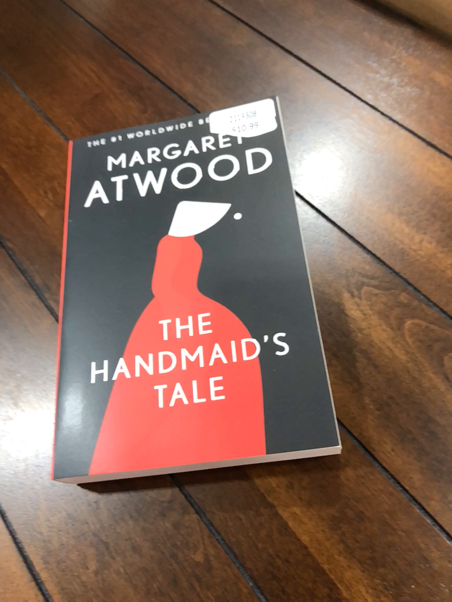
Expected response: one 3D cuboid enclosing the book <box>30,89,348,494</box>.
[{"bbox_3d":[-0.024,-0.015,0.273,0.138,0.030,0.207,-9,64,7],"label":"book"}]
